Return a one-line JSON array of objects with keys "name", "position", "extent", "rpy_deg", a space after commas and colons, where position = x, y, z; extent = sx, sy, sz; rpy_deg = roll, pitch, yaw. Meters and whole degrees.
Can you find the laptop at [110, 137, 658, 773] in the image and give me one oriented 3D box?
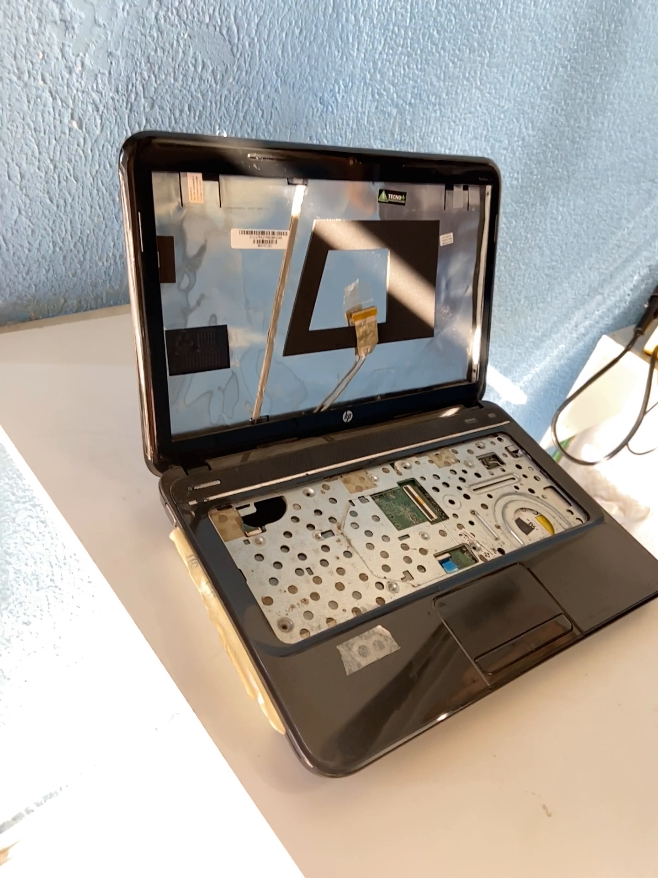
[{"name": "laptop", "position": [0.073, -0.039, 0.470], "extent": [0.336, 0.186, 0.324], "rpy_deg": [-12, 47, -34]}]
